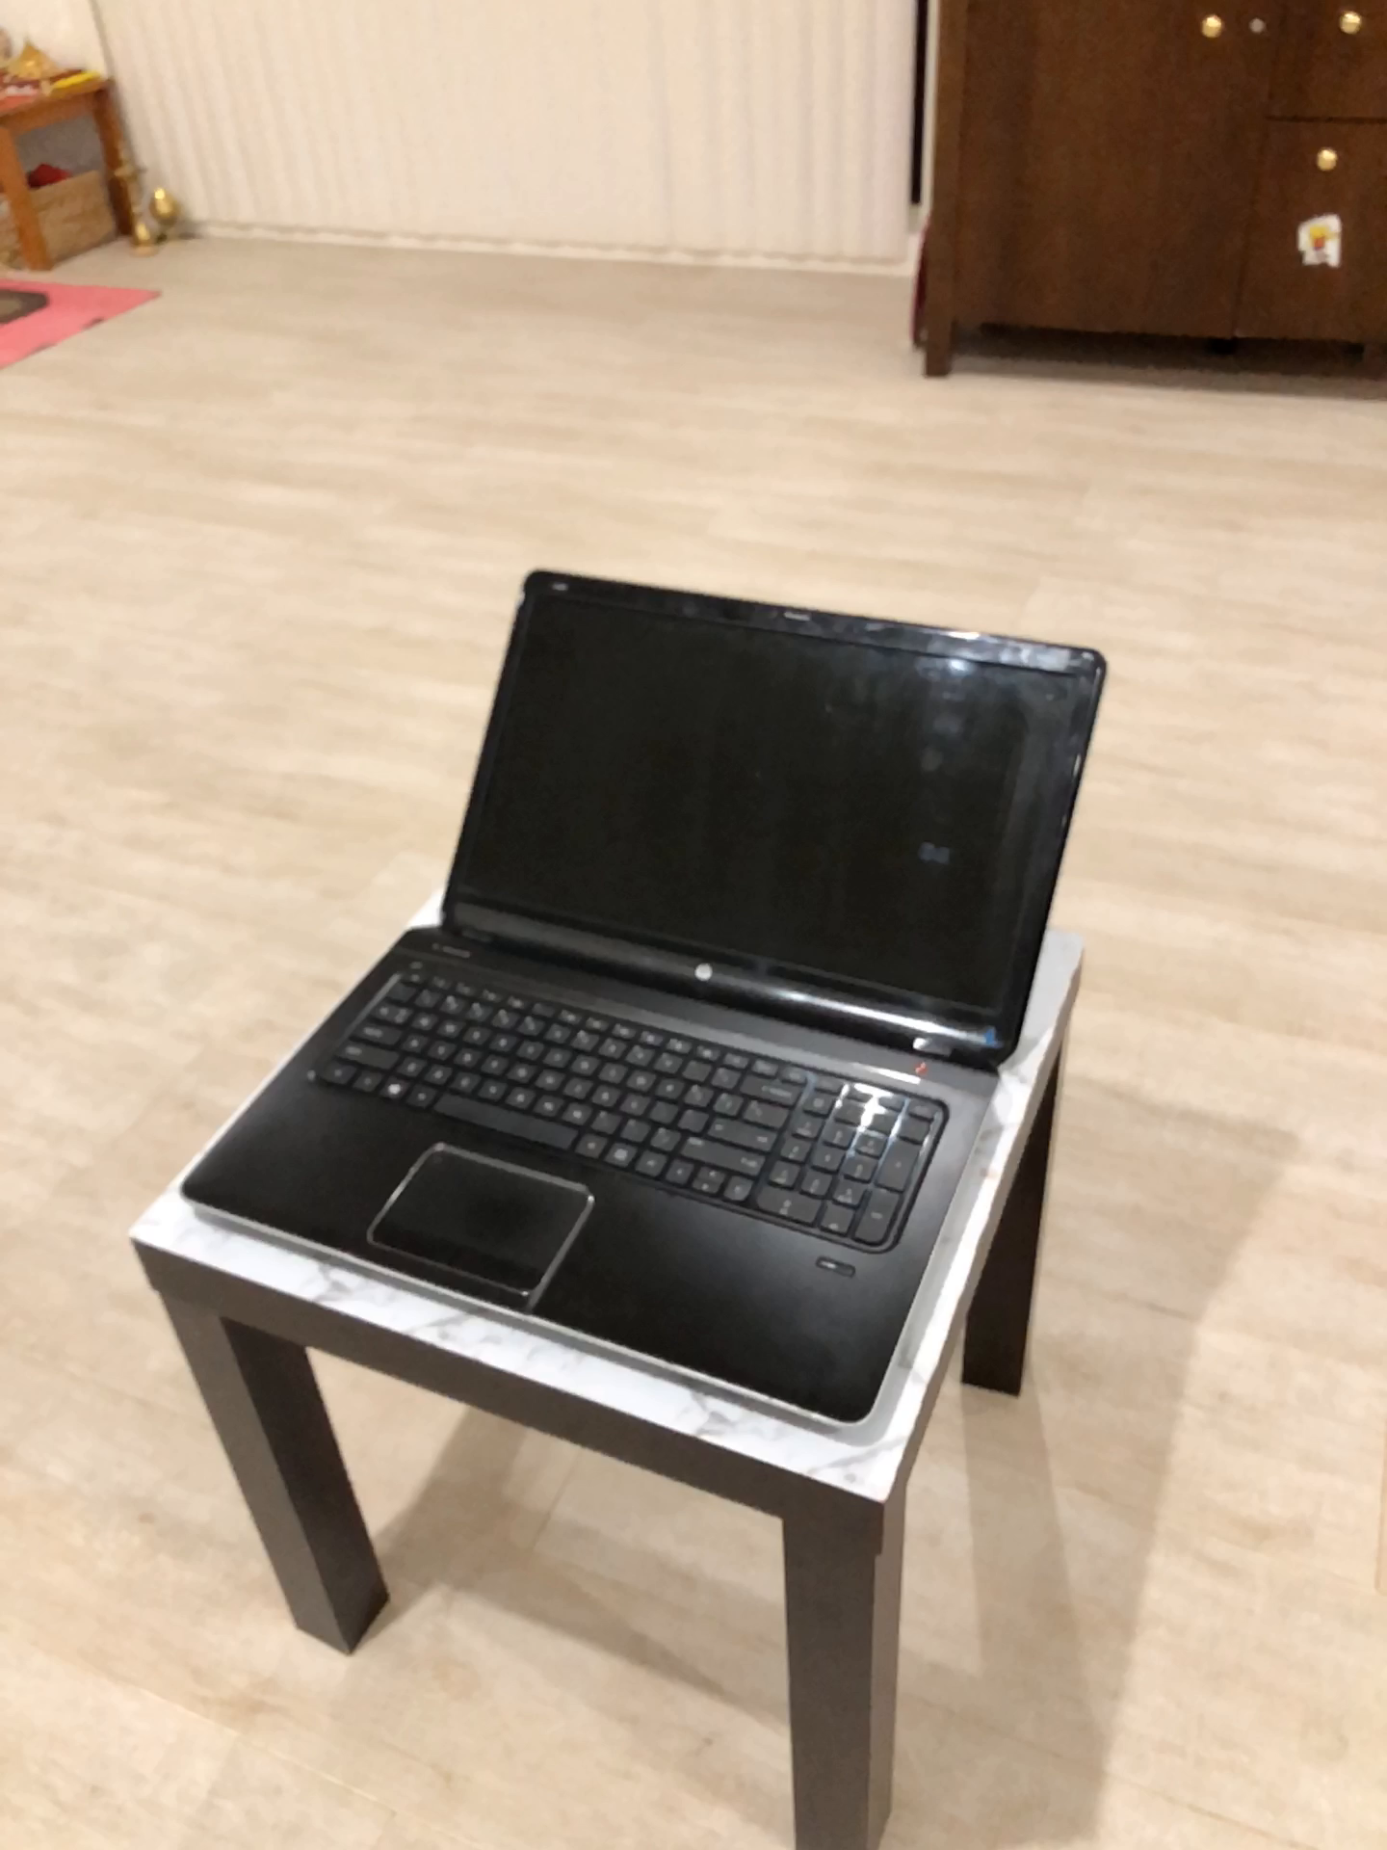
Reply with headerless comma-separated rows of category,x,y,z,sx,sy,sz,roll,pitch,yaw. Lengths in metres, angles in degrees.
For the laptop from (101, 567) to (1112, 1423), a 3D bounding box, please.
laptop,-0.014,-0.008,0.872,0.387,0.169,0.440,13,41,21
